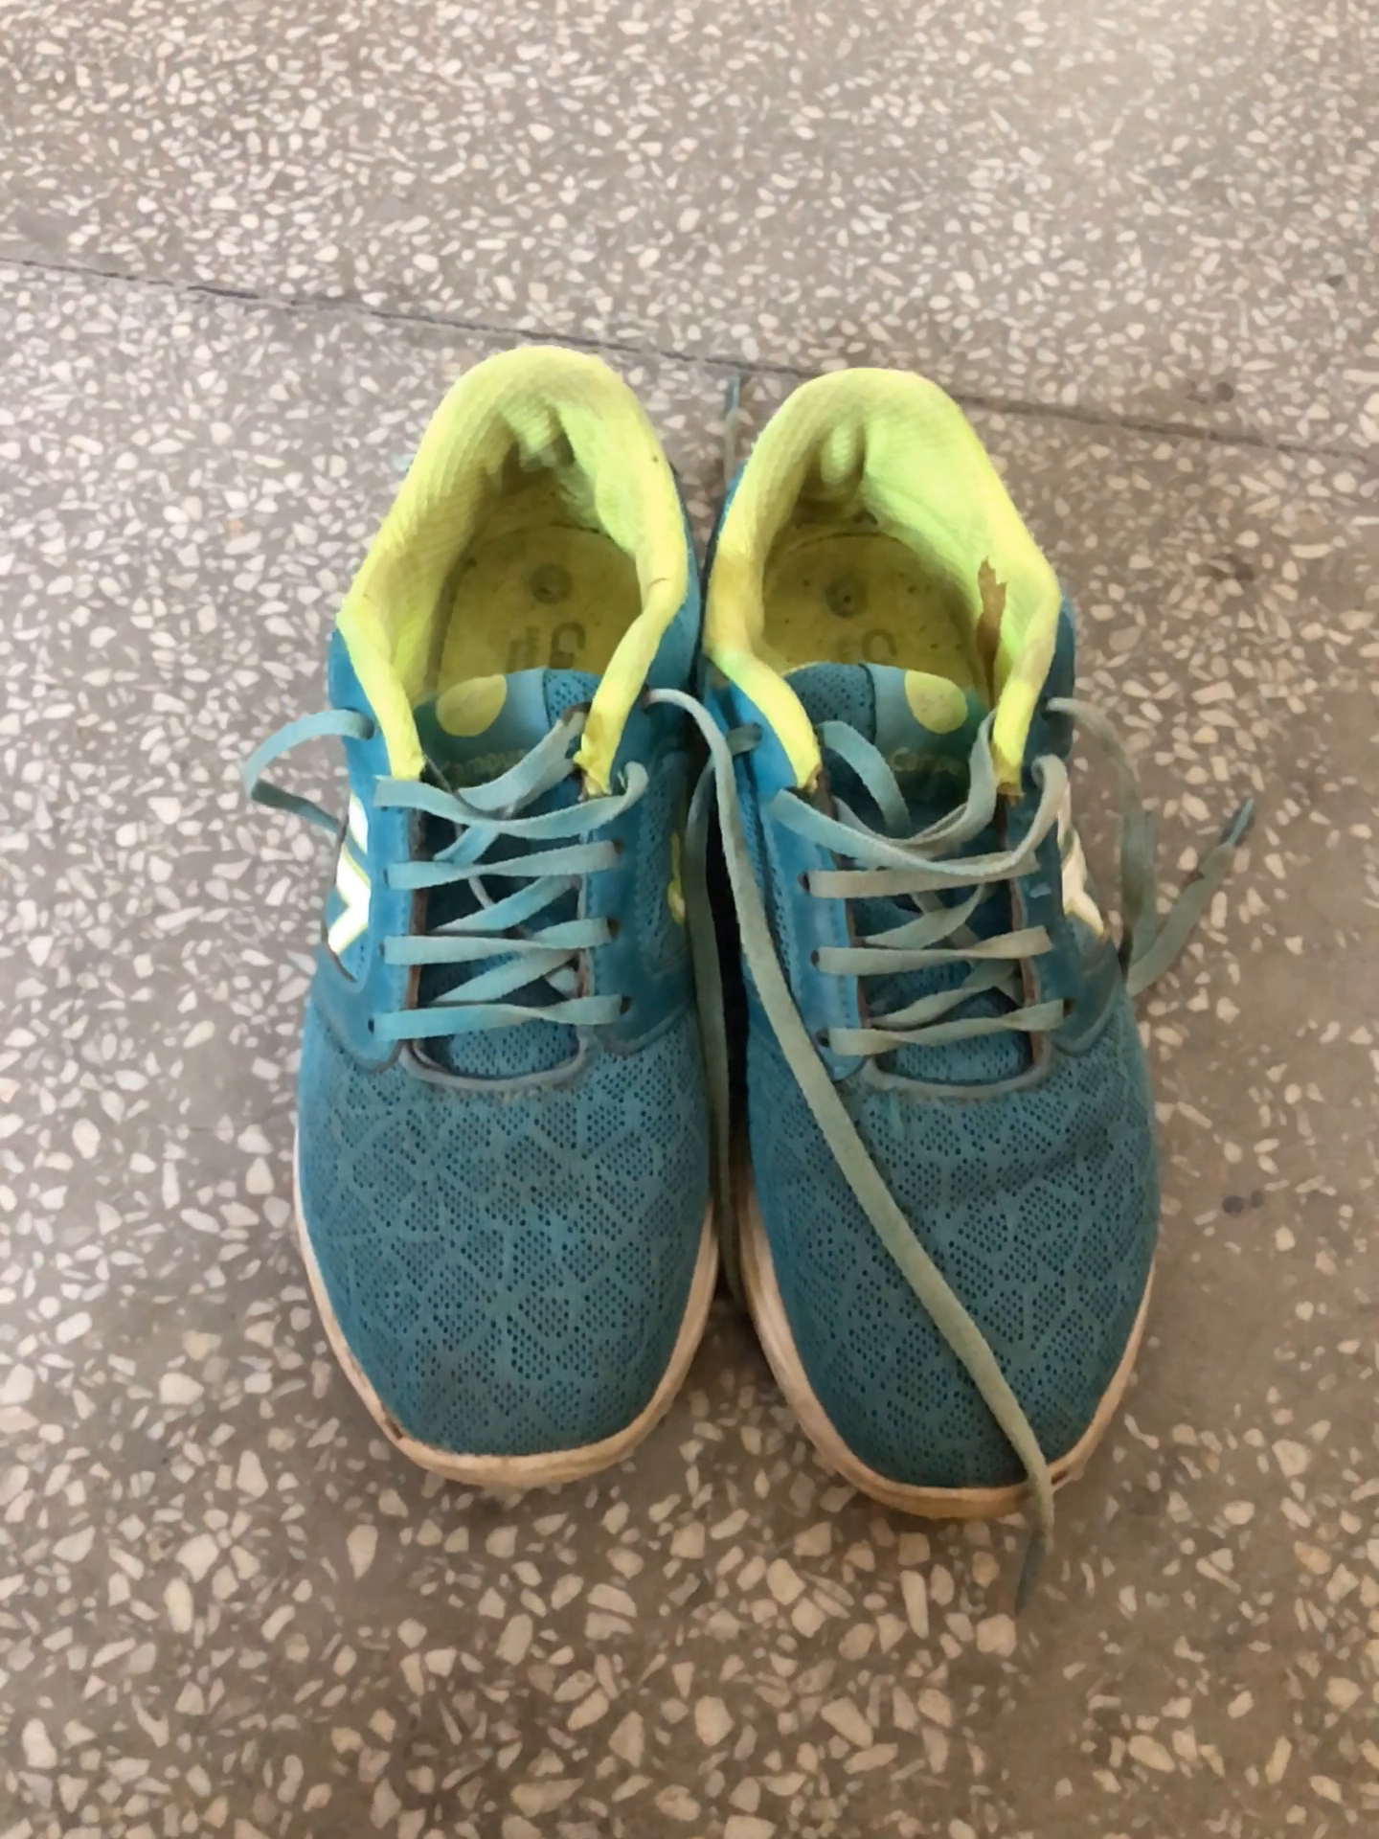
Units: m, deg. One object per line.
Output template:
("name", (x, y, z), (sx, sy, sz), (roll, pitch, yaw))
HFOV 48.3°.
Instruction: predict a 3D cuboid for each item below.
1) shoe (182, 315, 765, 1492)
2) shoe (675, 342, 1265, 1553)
("shoe", (-0.032, -0.009, 0.332), (0.090, 0.080, 0.240), (2, 65, 1))
("shoe", (0.048, 0.002, 0.340), (0.100, 0.080, 0.250), (0, 71, 0))
